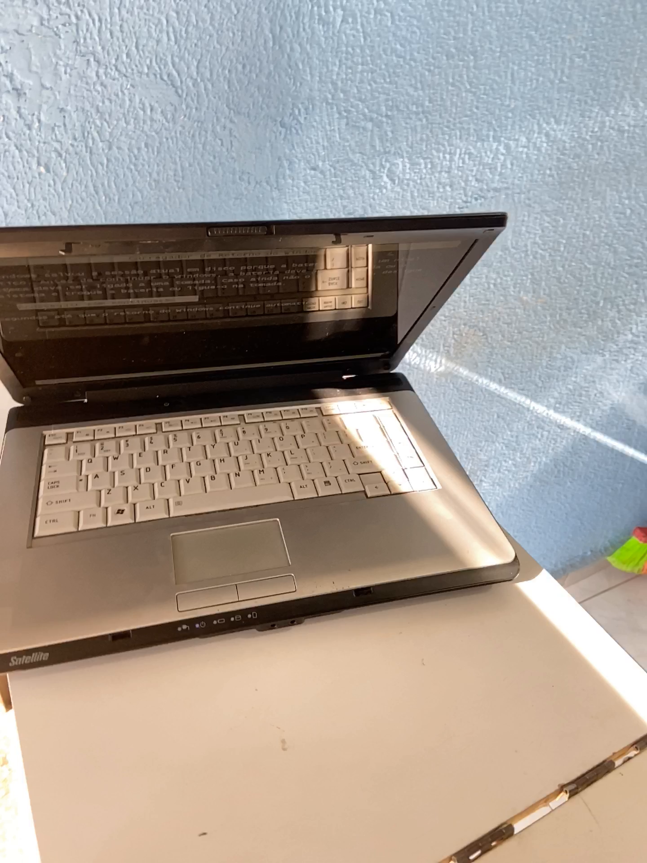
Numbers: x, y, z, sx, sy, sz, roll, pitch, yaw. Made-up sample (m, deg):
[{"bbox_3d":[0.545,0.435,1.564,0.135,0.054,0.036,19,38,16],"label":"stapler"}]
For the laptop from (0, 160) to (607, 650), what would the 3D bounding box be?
[{"bbox_3d":[-0.059,-0.045,0.461,0.351,0.202,0.247,-6,38,-13],"label":"laptop"}]
